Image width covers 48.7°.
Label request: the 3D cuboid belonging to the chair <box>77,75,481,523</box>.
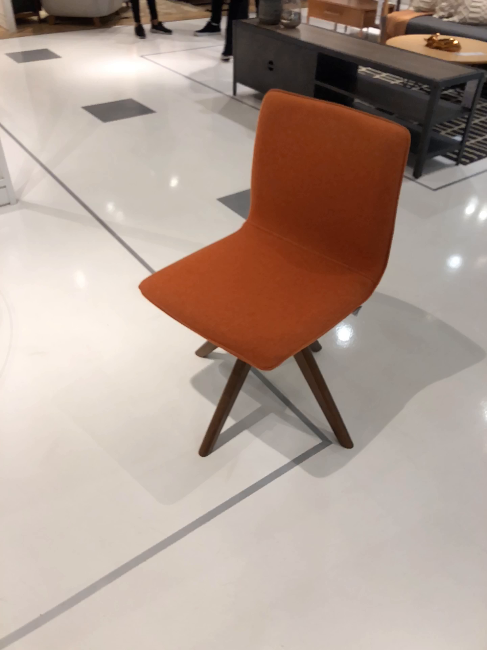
[{"bbox_3d":[0.076,-0.106,1.392,0.612,0.794,0.613,30,47,31],"label":"chair"}]
